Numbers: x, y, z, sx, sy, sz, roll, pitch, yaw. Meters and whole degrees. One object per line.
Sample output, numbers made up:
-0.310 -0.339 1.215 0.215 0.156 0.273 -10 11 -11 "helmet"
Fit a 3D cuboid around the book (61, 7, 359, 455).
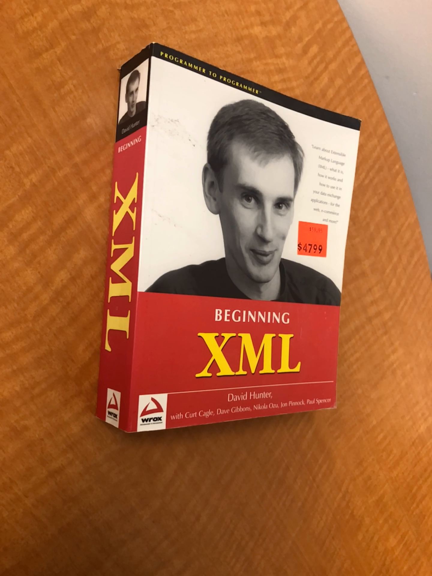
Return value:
0.010 -0.028 0.378 0.221 0.070 0.270 6 85 -36 "book"
